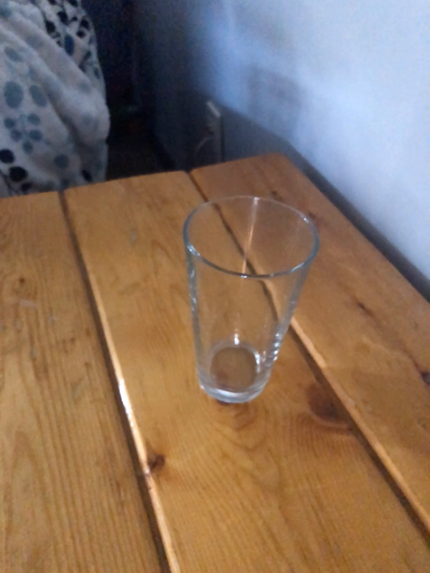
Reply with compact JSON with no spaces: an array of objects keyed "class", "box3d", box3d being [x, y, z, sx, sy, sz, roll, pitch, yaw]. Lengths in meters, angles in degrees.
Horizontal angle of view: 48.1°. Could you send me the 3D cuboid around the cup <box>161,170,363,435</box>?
[{"class":"cup","box3d":[0.026,0.013,0.352,0.090,0.150,0.090,1,43,-1]}]
